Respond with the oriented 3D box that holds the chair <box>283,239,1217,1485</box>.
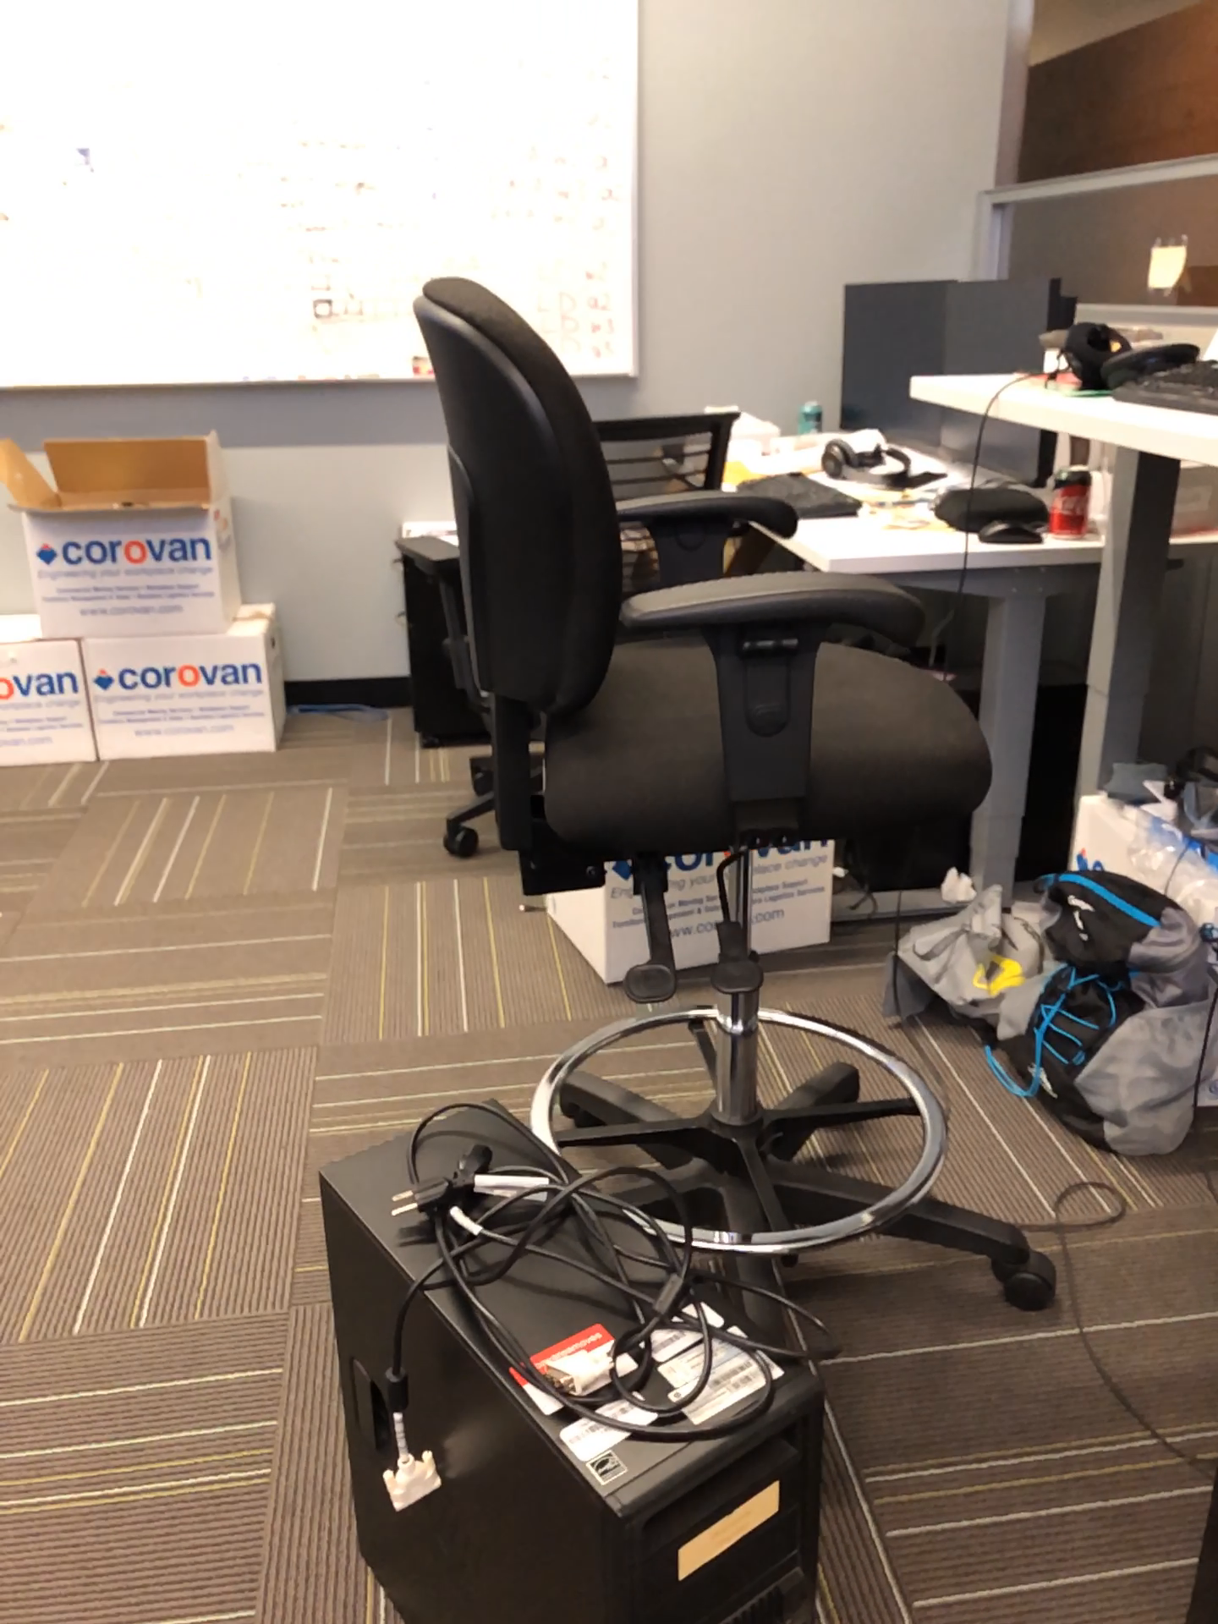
[{"bbox_3d":[0.128,0.011,1.451,0.730,1.135,0.643,-2,21,-3],"label":"chair"}]
